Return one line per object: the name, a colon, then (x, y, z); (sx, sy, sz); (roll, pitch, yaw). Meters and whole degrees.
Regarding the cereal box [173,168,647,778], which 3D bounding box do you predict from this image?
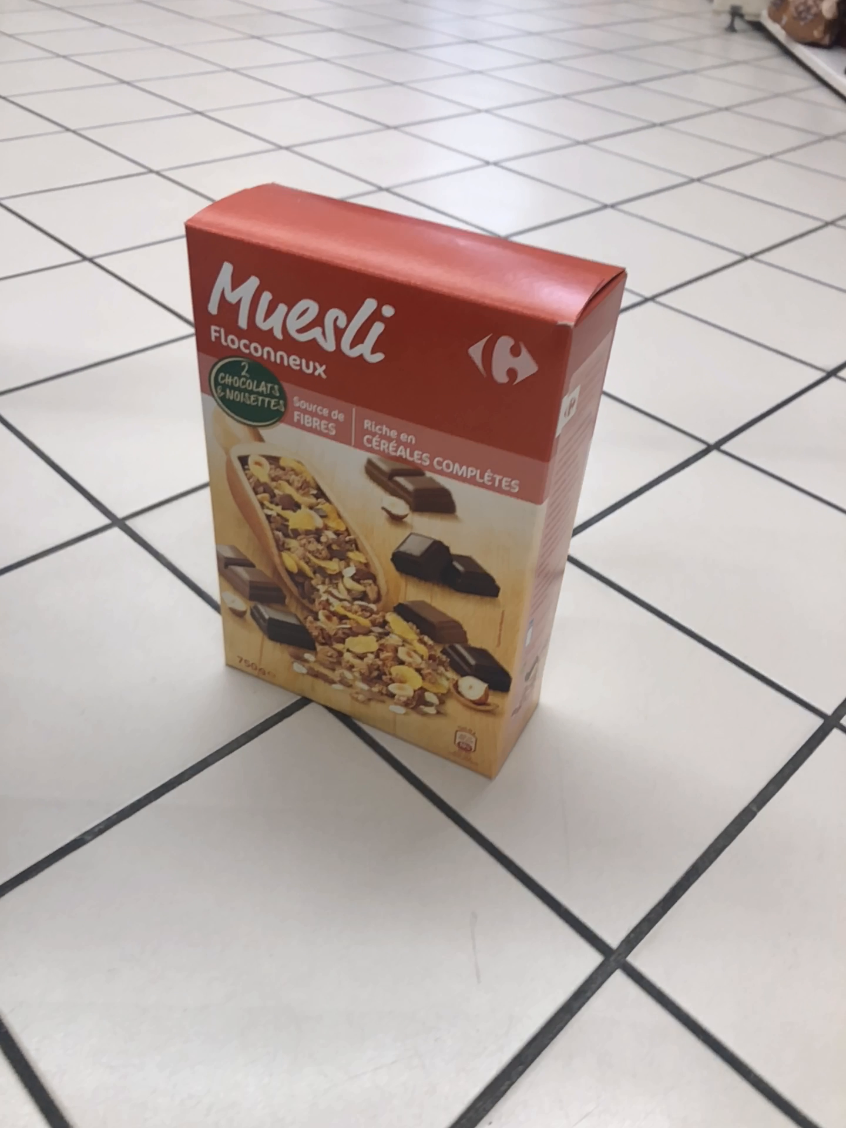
cereal box: (-0.014, -0.035, 0.435); (0.170, 0.239, 0.070); (20, 41, 17)
